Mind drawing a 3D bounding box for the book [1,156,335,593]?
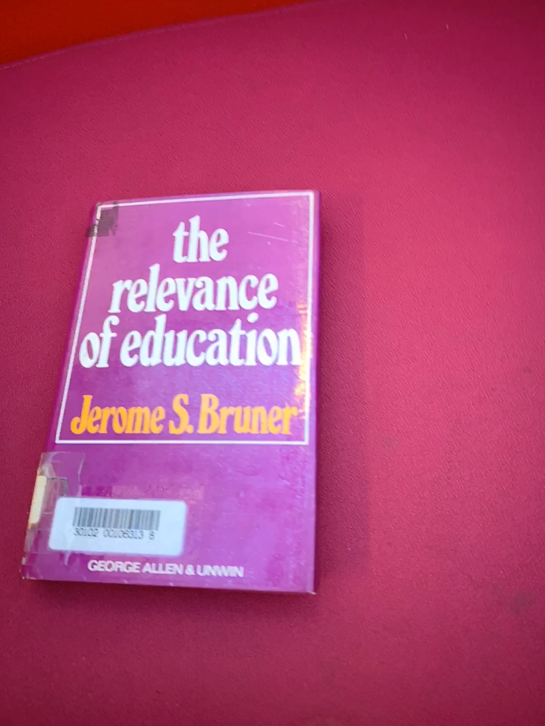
[{"bbox_3d":[-0.044,-0.003,0.308,0.150,0.040,0.231,0,69,9],"label":"book"}]
